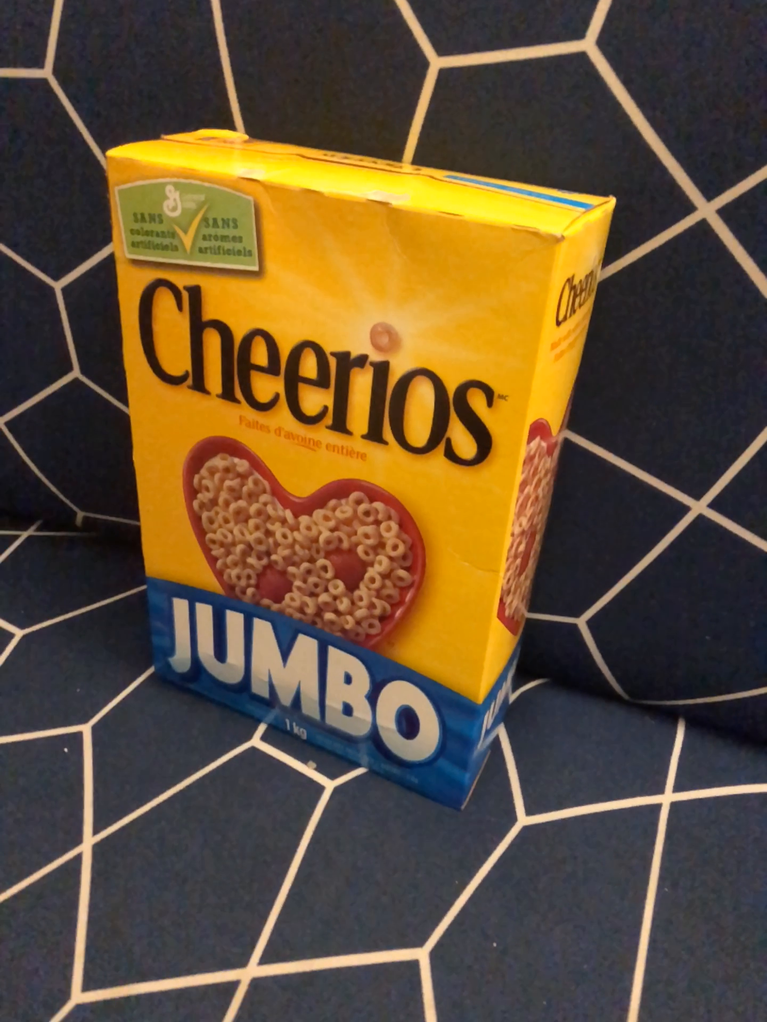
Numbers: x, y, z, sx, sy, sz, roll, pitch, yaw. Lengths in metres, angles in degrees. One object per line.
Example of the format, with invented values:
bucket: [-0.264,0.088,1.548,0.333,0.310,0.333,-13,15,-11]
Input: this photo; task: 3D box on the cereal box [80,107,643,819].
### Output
cereal box: [-0.023,-0.021,0.406,0.210,0.288,0.080,18,32,20]
